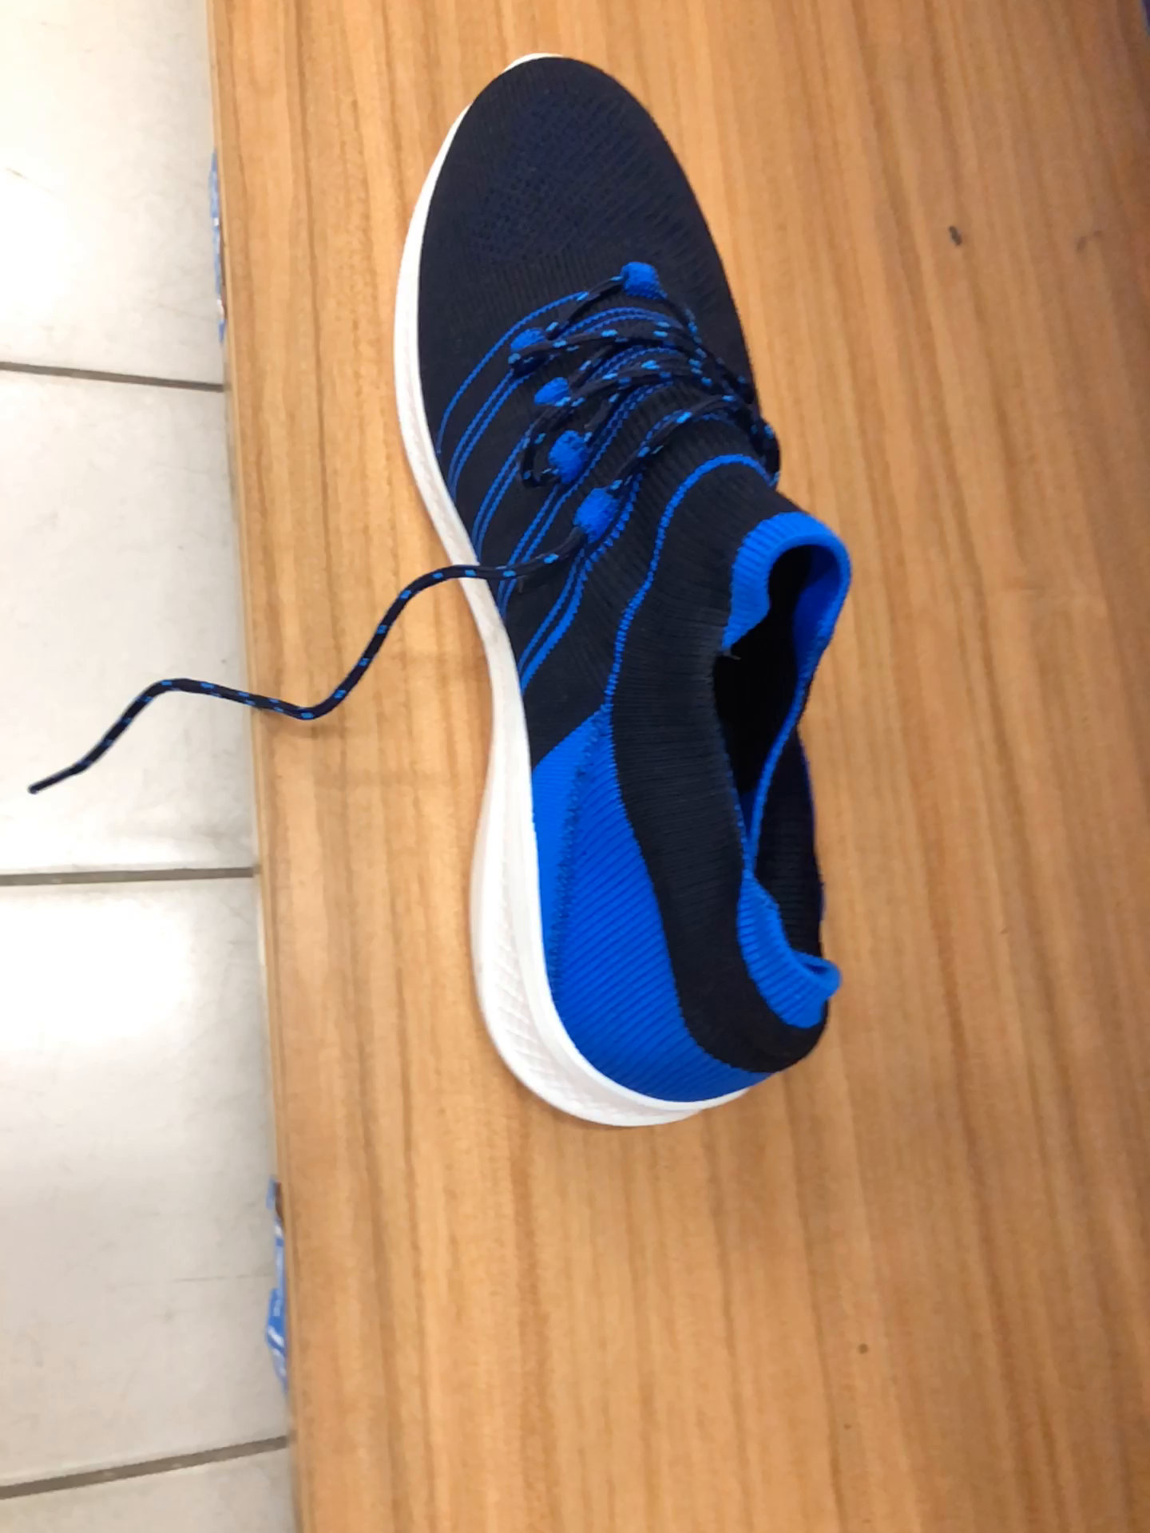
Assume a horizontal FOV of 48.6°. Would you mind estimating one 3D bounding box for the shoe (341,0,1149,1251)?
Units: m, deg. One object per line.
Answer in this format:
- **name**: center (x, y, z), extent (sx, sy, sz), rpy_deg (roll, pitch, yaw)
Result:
- **shoe**: center (0.027, -0.048, 0.281), extent (0.110, 0.109, 0.260), rpy_deg (-4, 79, -22)
